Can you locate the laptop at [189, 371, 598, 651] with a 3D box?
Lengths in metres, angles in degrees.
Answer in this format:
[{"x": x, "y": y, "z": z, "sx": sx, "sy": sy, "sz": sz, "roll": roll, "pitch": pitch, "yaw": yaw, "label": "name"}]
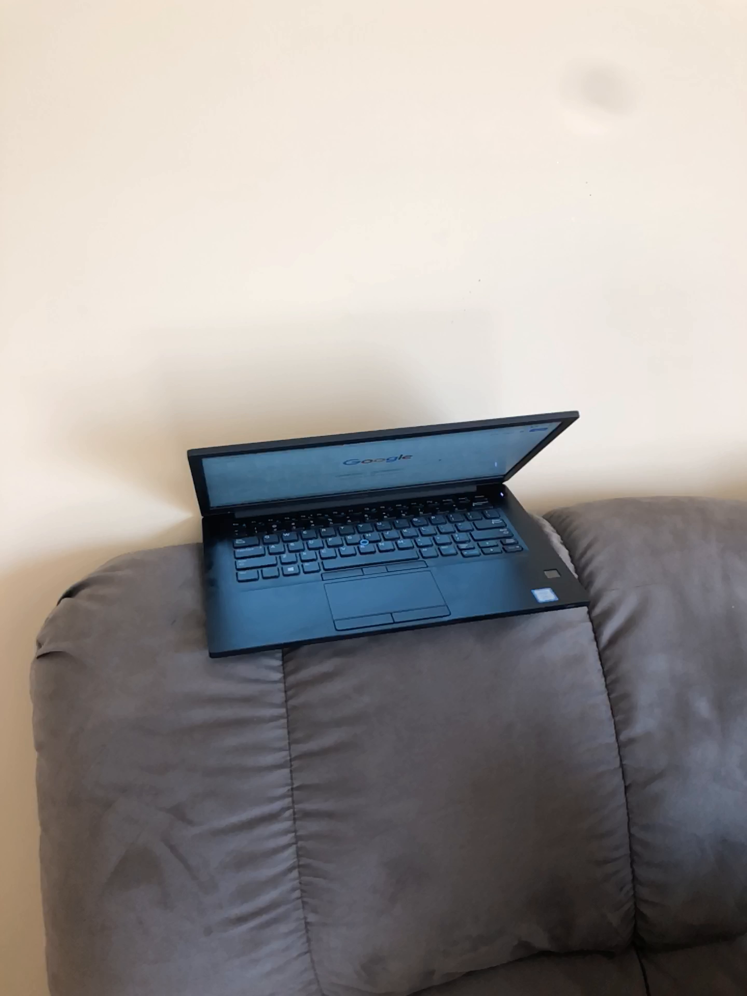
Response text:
[{"x": 0.002, "y": -0.005, "z": 0.748, "sx": 0.321, "sy": 0.128, "sz": 0.214, "roll": -6, "pitch": 27, "yaw": -10, "label": "laptop"}]
